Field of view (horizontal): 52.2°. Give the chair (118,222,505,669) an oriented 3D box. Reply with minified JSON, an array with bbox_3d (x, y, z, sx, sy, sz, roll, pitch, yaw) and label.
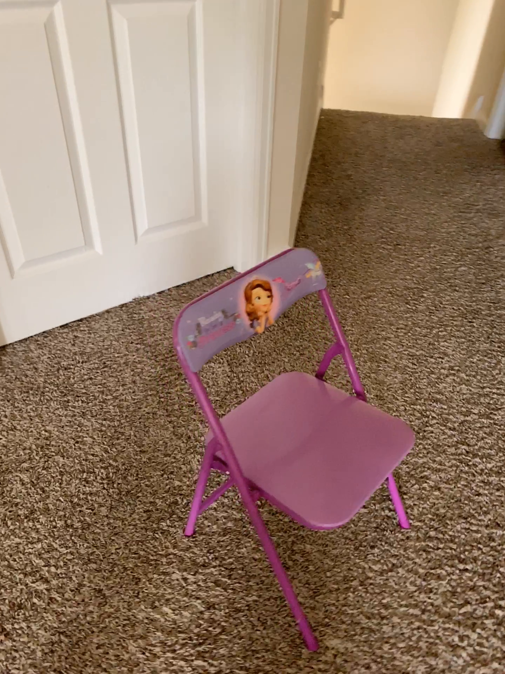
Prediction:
[{"bbox_3d":[0.084,0.150,0.849,0.391,0.468,0.381,30,46,30],"label":"chair"}]
